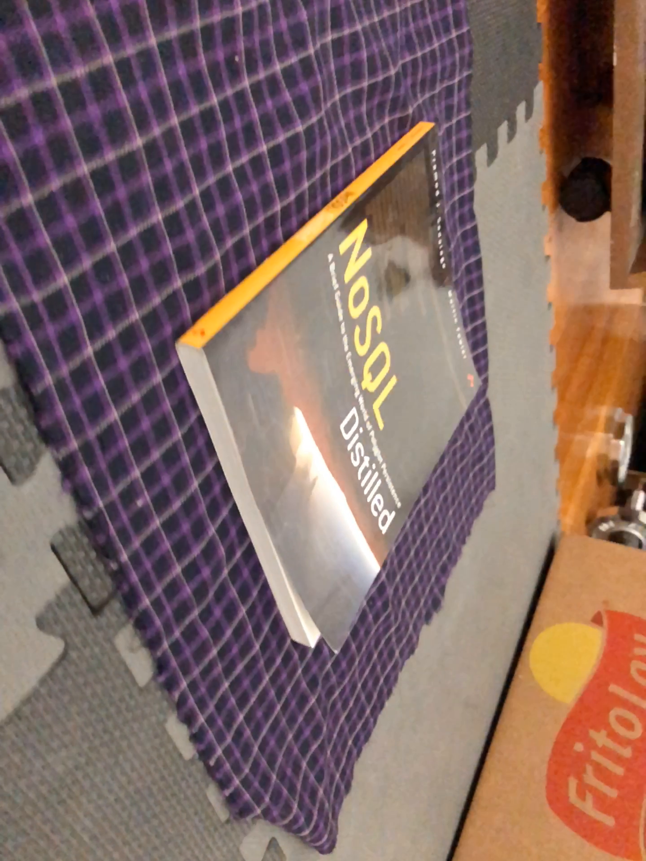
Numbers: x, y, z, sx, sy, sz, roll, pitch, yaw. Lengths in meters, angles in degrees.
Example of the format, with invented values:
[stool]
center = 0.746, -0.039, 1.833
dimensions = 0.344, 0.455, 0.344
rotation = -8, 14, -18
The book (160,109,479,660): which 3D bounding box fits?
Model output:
[book]
center = 0.027, -0.036, 0.394
dimensions = 0.251, 0.020, 0.190
rotation = -54, 140, -41
